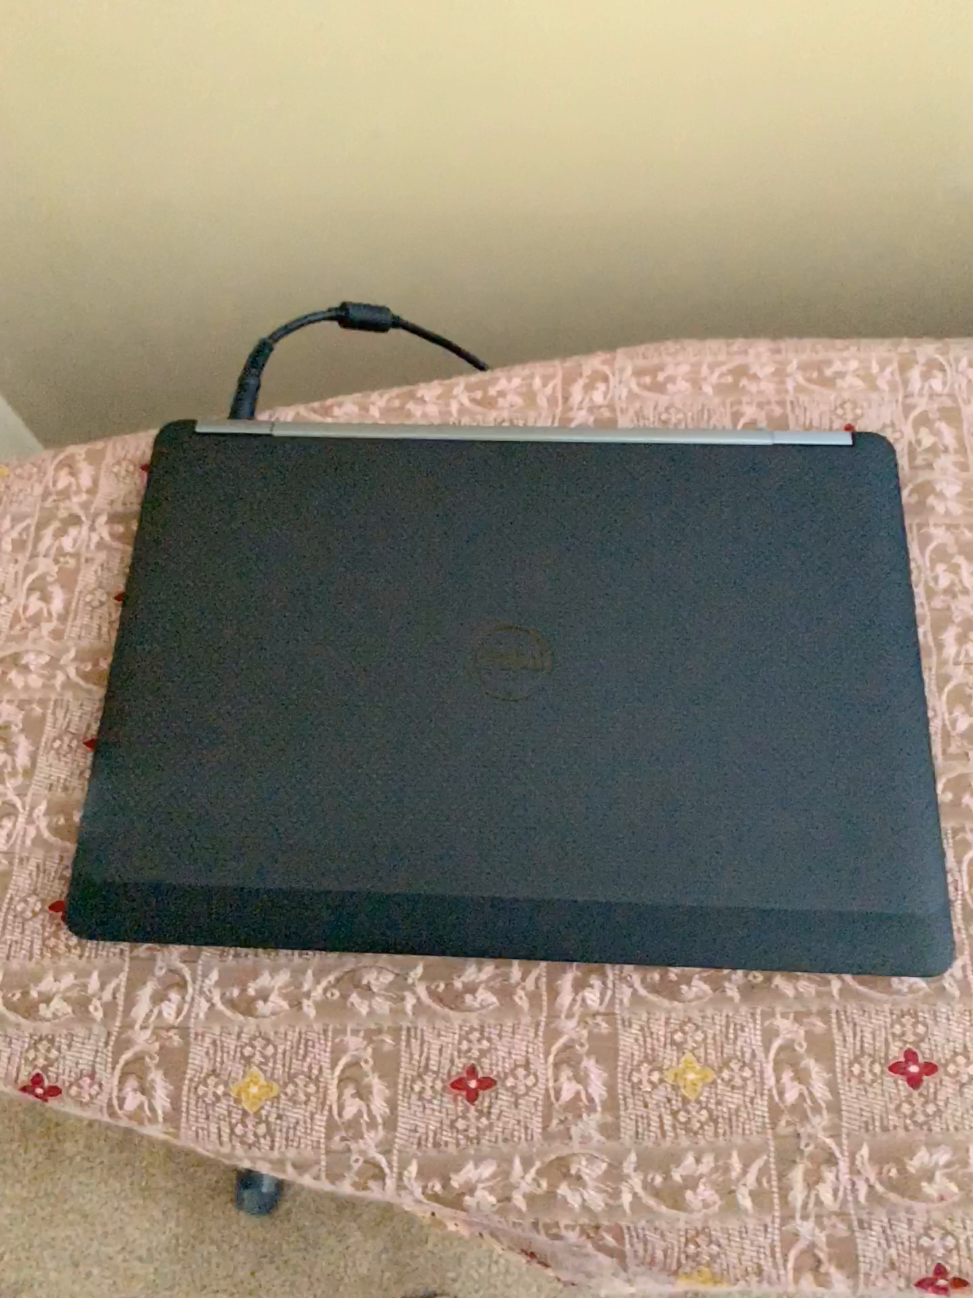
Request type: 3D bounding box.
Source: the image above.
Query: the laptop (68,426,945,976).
[{"bbox_3d":[0.005,0.009,0.375,0.294,0.017,0.197,1,71,7],"label":"laptop"}]
